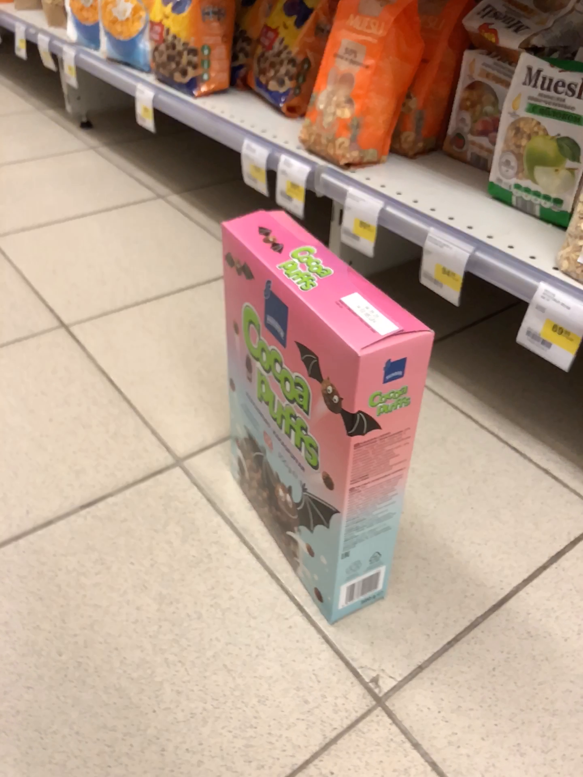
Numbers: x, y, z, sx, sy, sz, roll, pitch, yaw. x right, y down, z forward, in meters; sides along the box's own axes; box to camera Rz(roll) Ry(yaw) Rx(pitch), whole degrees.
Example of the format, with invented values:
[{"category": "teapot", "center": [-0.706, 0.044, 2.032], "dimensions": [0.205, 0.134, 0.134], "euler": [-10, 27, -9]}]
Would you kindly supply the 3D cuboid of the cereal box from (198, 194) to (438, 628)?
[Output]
[{"category": "cereal box", "center": [0.003, 0.018, 0.515], "dimensions": [0.060, 0.268, 0.211], "euler": [-18, 43, -23]}]
